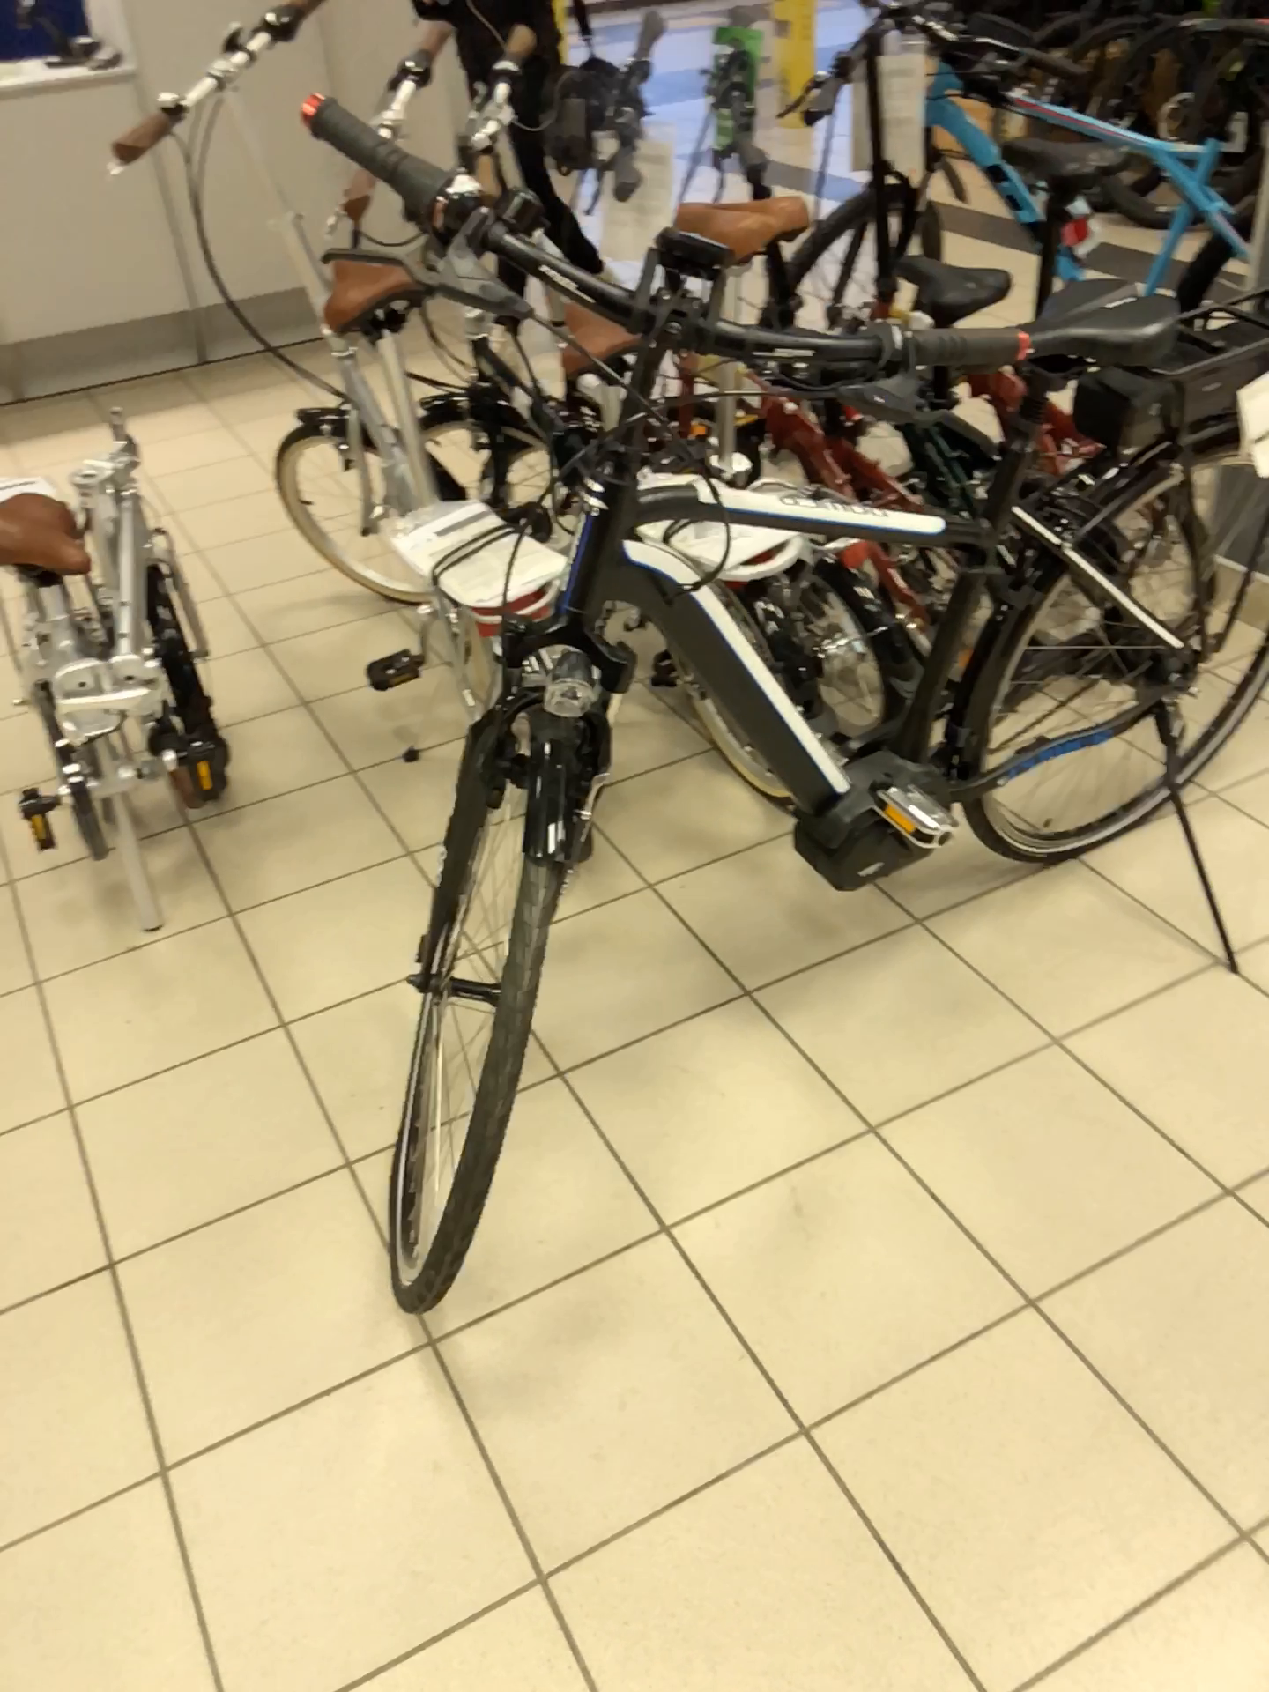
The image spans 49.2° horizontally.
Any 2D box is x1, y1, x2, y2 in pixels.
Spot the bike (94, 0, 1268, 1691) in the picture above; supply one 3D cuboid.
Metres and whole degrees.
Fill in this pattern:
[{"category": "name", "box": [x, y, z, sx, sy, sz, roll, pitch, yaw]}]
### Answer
[{"category": "bike", "box": [0.418, -0.203, 1.596, 1.615, 1.176, 0.698, -31, 43, -30]}]
